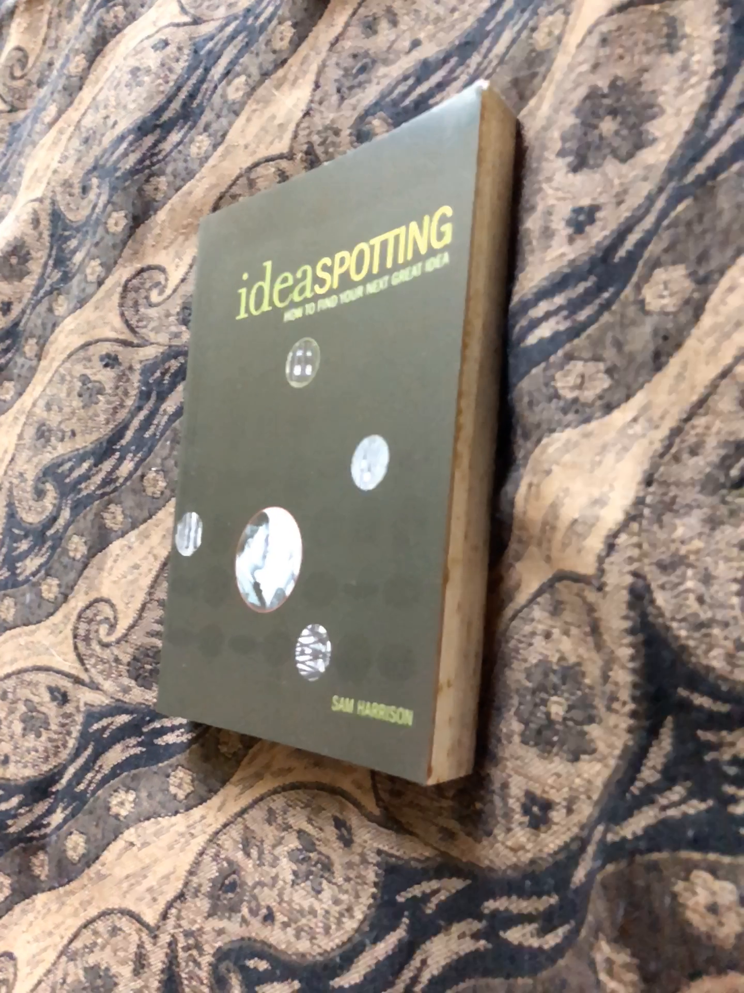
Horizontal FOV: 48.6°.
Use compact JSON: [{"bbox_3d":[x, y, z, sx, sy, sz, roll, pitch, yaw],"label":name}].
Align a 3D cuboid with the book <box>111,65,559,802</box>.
[{"bbox_3d":[-0.017,-0.014,0.259,0.141,0.040,0.180,-4,78,44],"label":"book"}]
